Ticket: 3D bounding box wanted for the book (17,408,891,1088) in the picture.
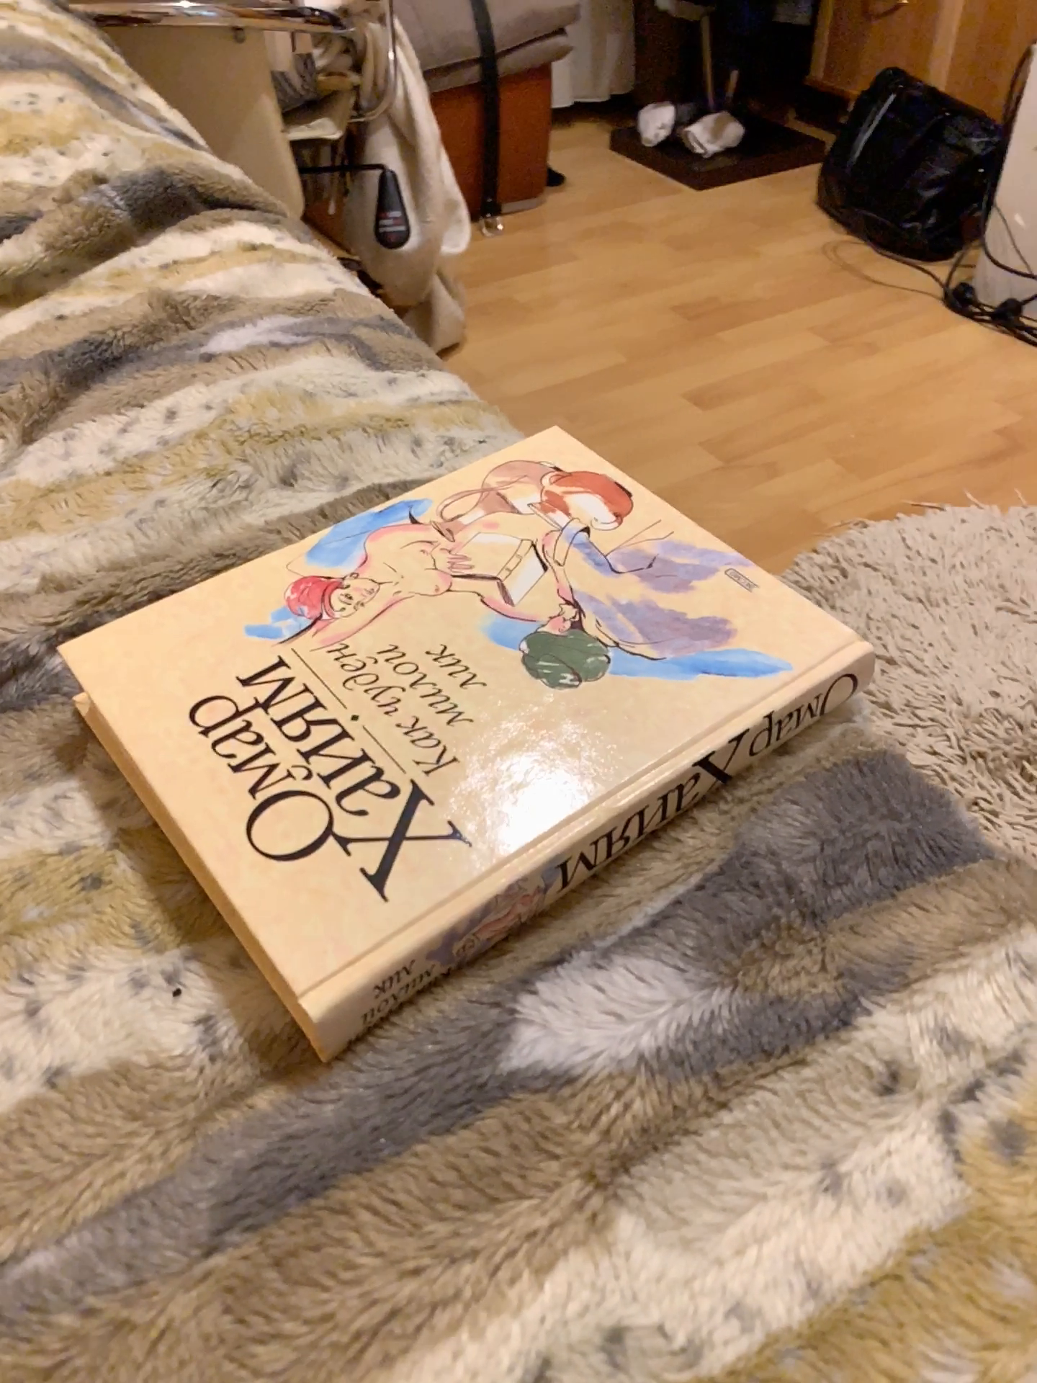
[{"bbox_3d":[-0.020,-0.009,0.349,0.221,0.030,0.171,-29,53,-26],"label":"book"}]
